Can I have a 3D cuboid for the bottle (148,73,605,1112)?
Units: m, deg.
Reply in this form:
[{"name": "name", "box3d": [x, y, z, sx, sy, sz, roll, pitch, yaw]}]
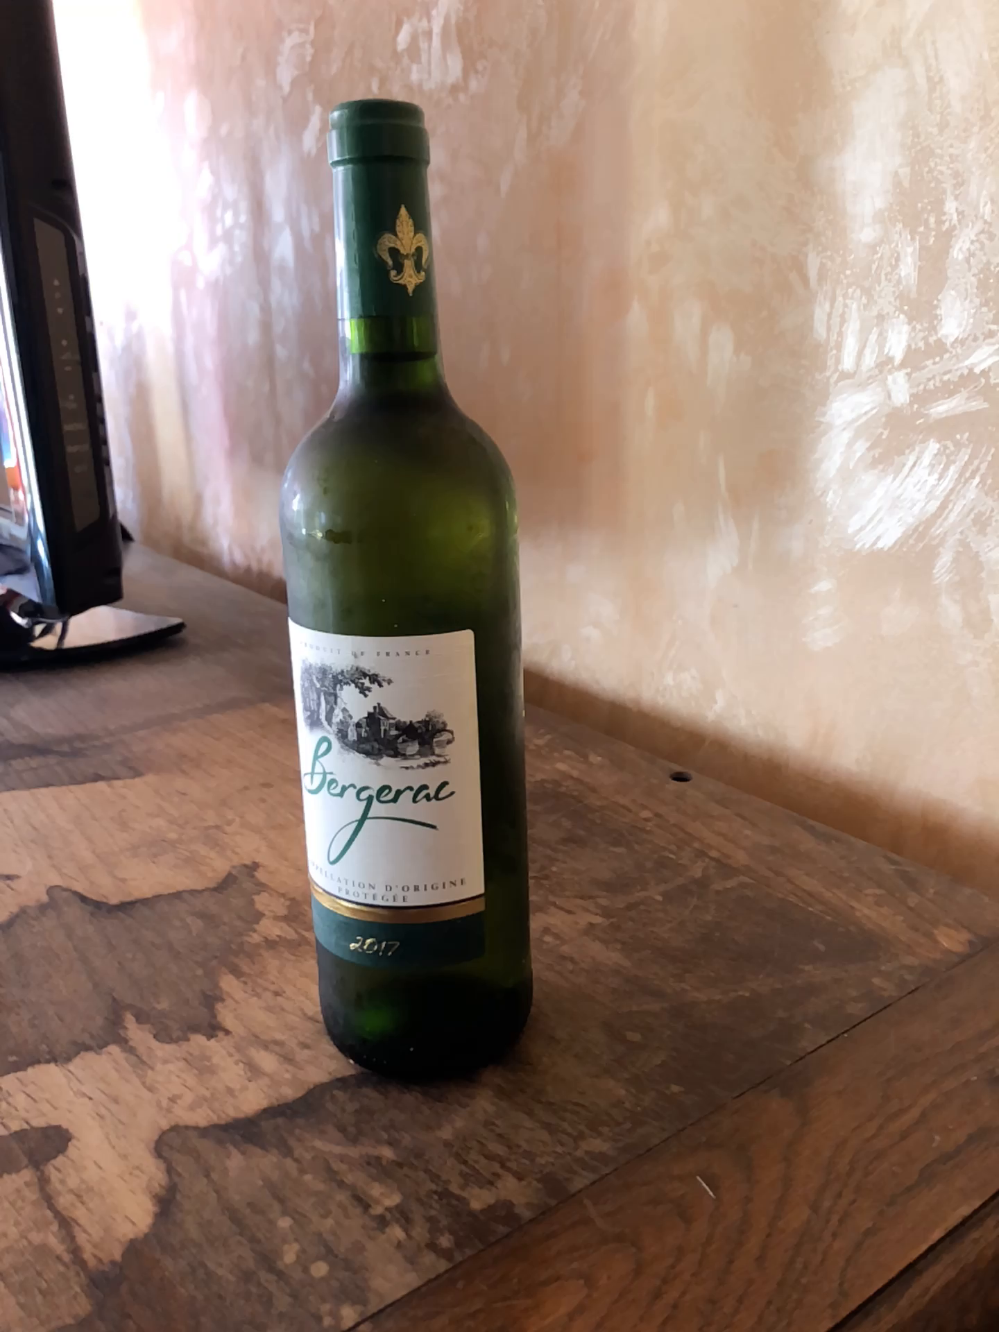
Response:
[{"name": "bottle", "box3d": [-0.026, -0.018, 0.335, 0.090, 0.269, 0.090, -1, 17, 0]}]
